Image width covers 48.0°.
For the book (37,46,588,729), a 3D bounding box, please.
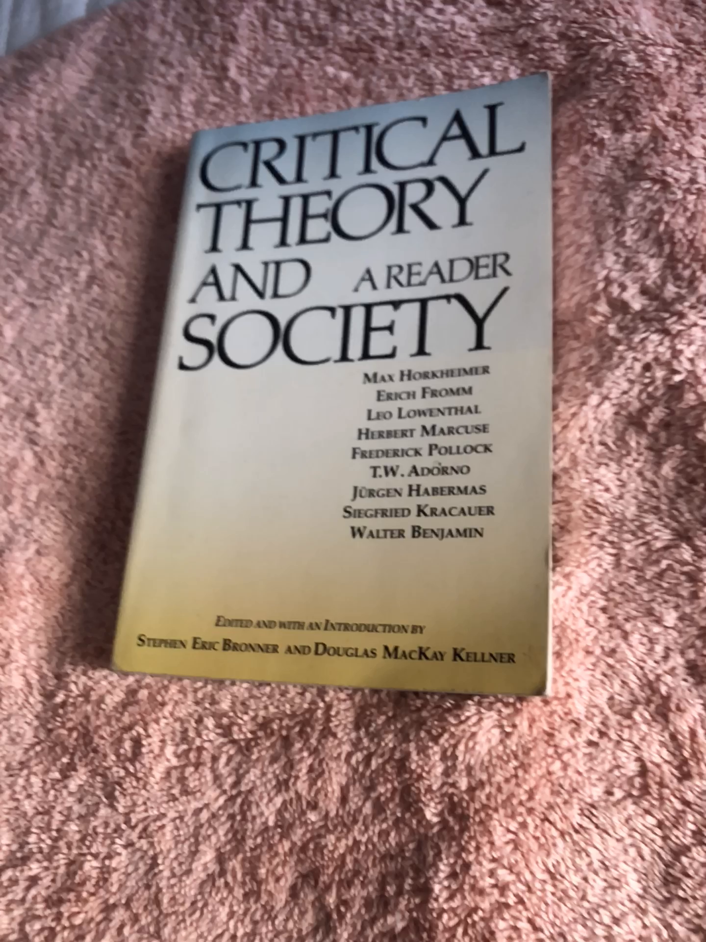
[{"bbox_3d":[-0.003,-0.034,0.292,0.170,0.050,0.230,0,71,16],"label":"book"}]
